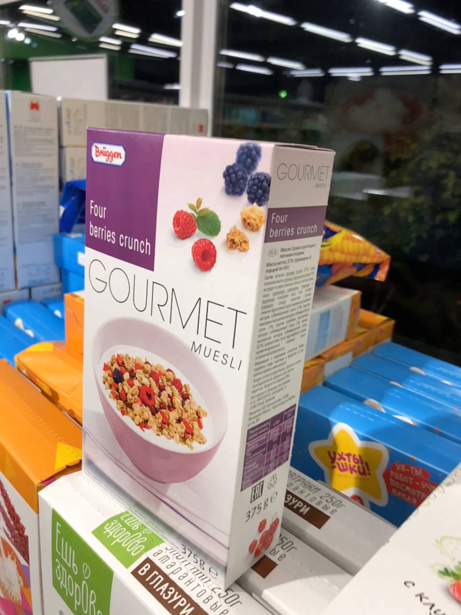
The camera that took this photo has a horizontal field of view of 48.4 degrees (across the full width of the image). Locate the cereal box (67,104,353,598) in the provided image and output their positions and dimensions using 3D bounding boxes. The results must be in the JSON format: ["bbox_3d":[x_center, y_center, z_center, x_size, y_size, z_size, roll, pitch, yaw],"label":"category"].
[{"bbox_3d":[-0.026,0.012,0.277,0.140,0.219,0.050,19,21,38],"label":"cereal box"}]
